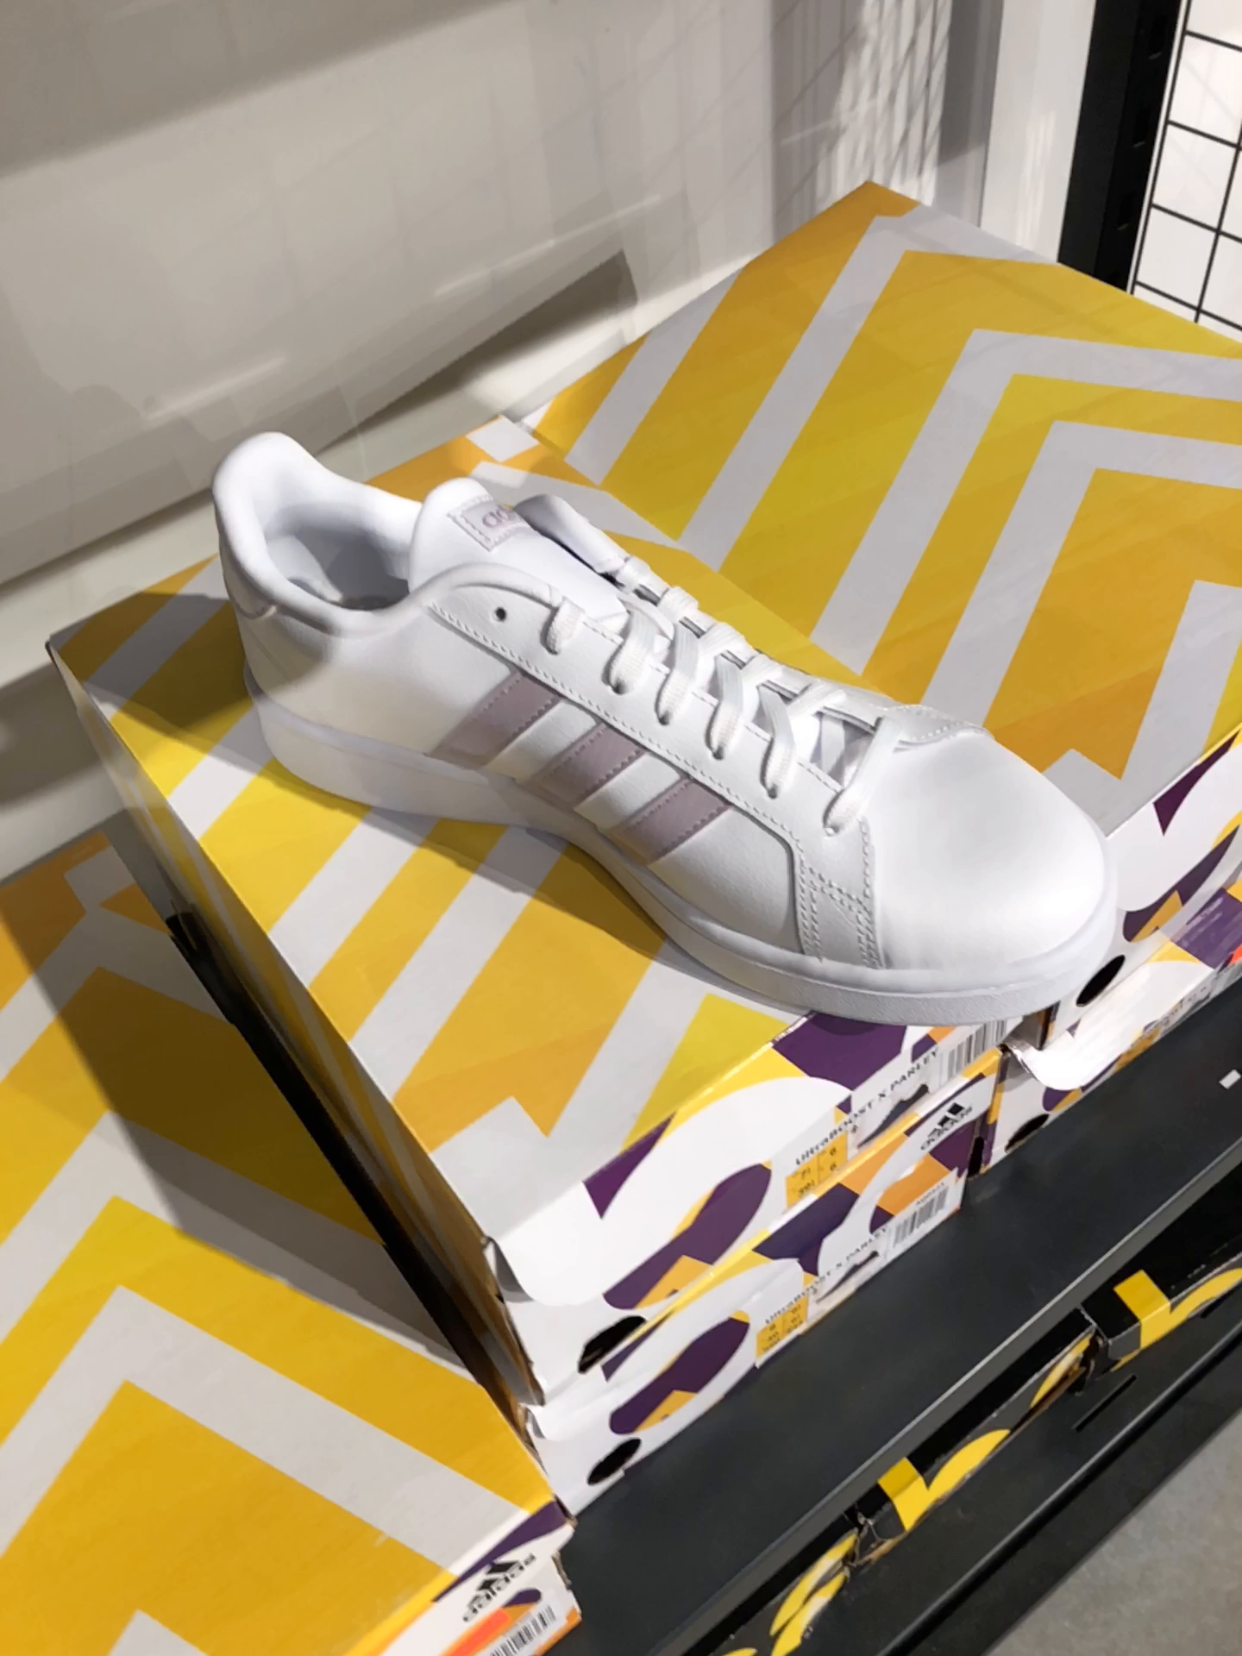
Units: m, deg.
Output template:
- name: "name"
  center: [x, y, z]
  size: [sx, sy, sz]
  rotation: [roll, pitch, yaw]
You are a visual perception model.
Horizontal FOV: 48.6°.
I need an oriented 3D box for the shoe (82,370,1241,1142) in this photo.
- name: "shoe"
  center: [0.005, -0.036, 0.395]
  size: [0.290, 0.090, 0.110]
  rotation: [20, 54, 23]
